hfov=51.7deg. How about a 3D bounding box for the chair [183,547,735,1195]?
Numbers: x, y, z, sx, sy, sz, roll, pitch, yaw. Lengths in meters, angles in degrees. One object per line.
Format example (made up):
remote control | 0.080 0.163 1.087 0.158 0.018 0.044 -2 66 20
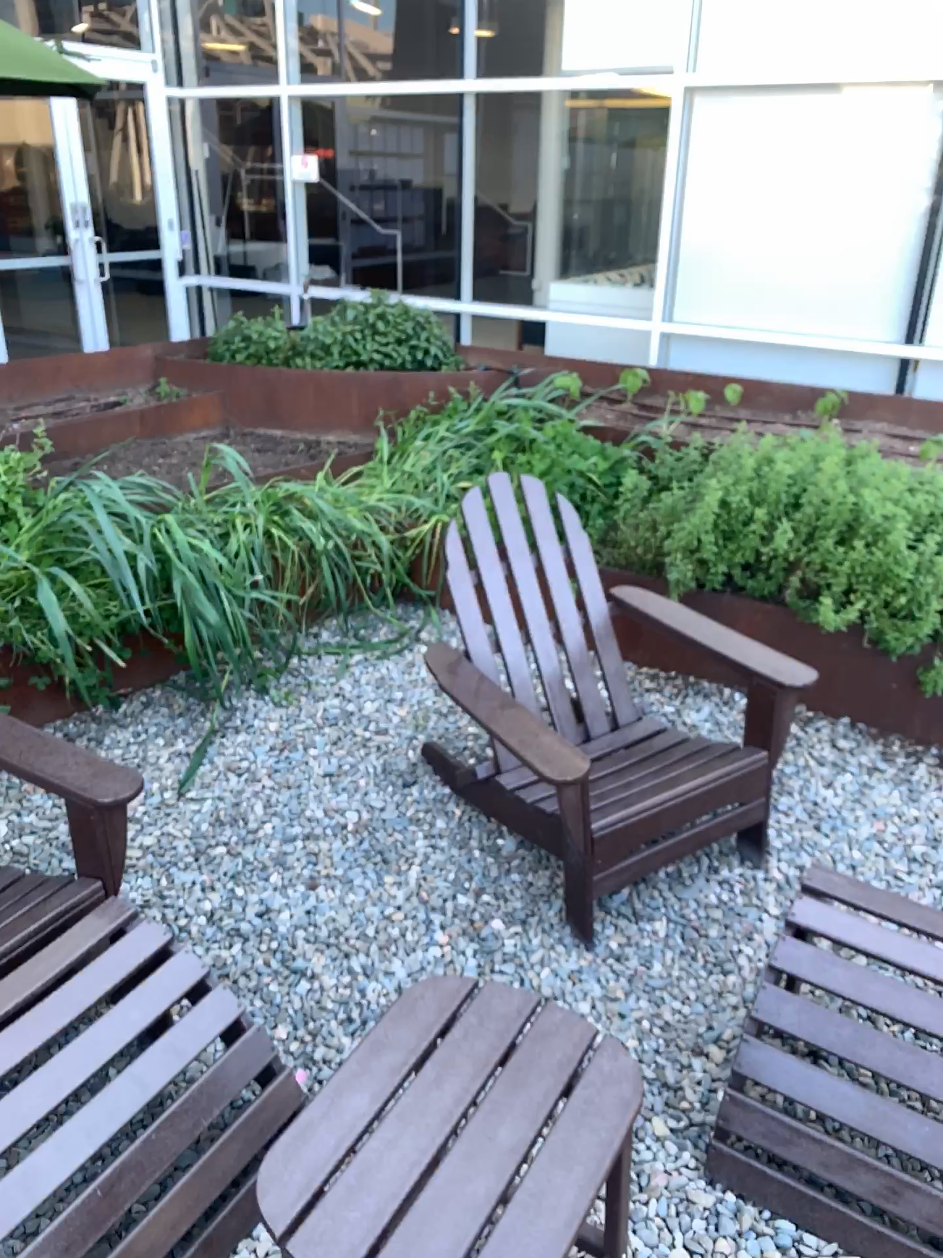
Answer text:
chair | -0.117 0.482 2.440 1.000 0.995 1.006 -7 26 -18
